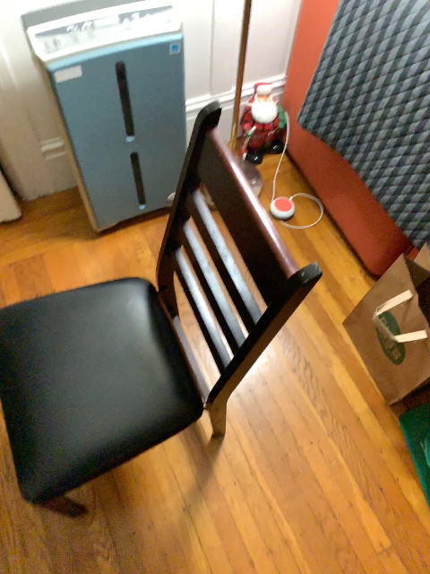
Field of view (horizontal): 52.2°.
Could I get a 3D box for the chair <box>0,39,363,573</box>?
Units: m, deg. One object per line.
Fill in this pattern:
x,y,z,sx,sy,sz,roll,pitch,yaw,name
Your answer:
-0.220,0.131,0.871,0.550,0.868,0.491,-22,64,-14,chair
